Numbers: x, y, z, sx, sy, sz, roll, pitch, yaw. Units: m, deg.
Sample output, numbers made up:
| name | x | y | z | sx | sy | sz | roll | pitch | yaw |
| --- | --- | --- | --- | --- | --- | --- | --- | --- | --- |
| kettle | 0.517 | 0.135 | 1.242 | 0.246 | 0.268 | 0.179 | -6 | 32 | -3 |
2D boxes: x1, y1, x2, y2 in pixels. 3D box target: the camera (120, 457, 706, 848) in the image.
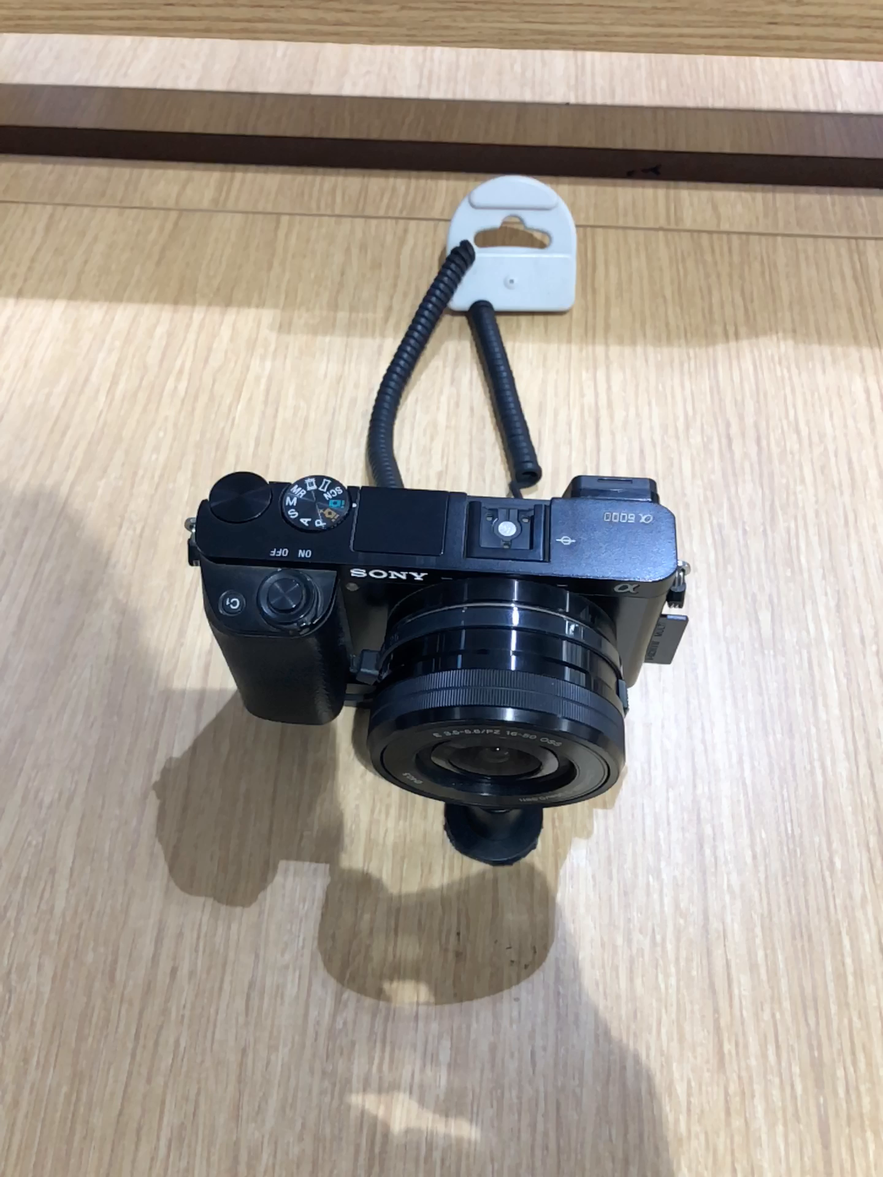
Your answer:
| name | x | y | z | sx | sy | sz | roll | pitch | yaw |
| --- | --- | --- | --- | --- | --- | --- | --- | --- | --- |
| camera | -0.004 | 0.017 | 0.224 | 0.107 | 0.070 | 0.059 | 2 | 58 | 2 |
